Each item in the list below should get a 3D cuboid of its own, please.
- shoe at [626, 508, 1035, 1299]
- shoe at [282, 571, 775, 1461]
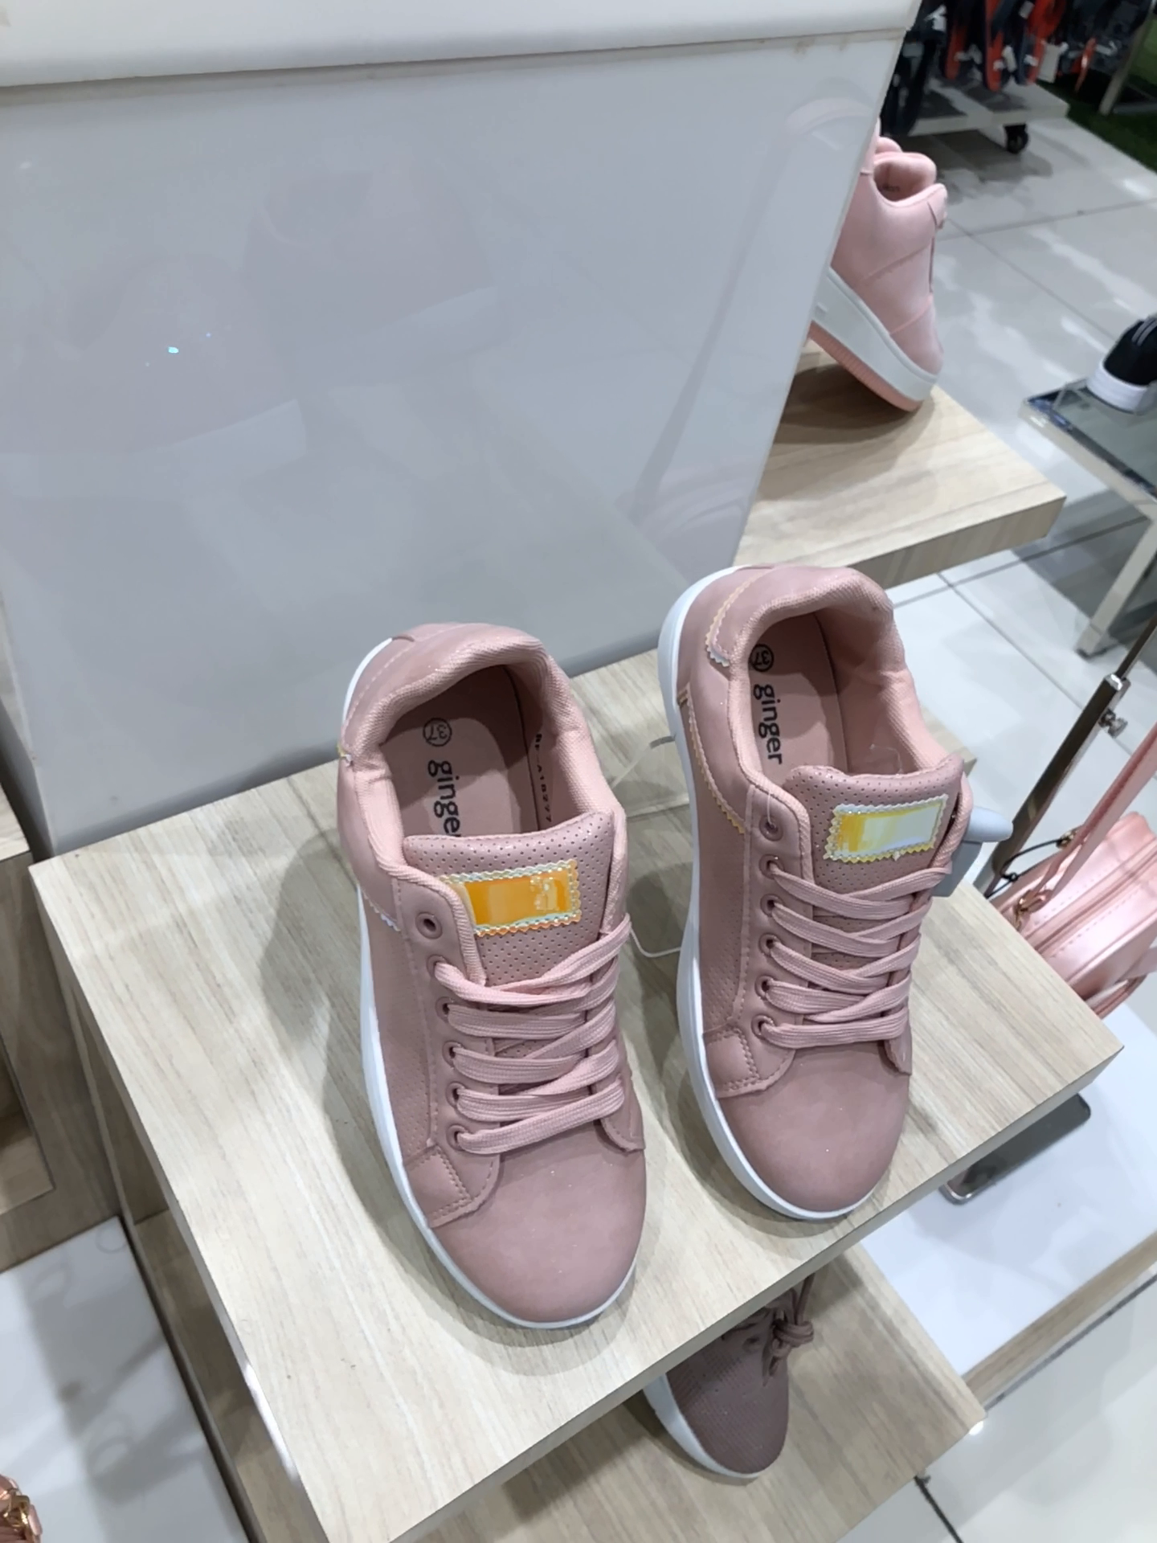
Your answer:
[{"bbox_3d":[0.089,0.042,0.484,0.100,0.093,0.261,-3,86,-17],"label":"shoe"},{"bbox_3d":[-0.022,0.071,0.435,0.103,0.093,0.252,-10,91,-20],"label":"shoe"}]
